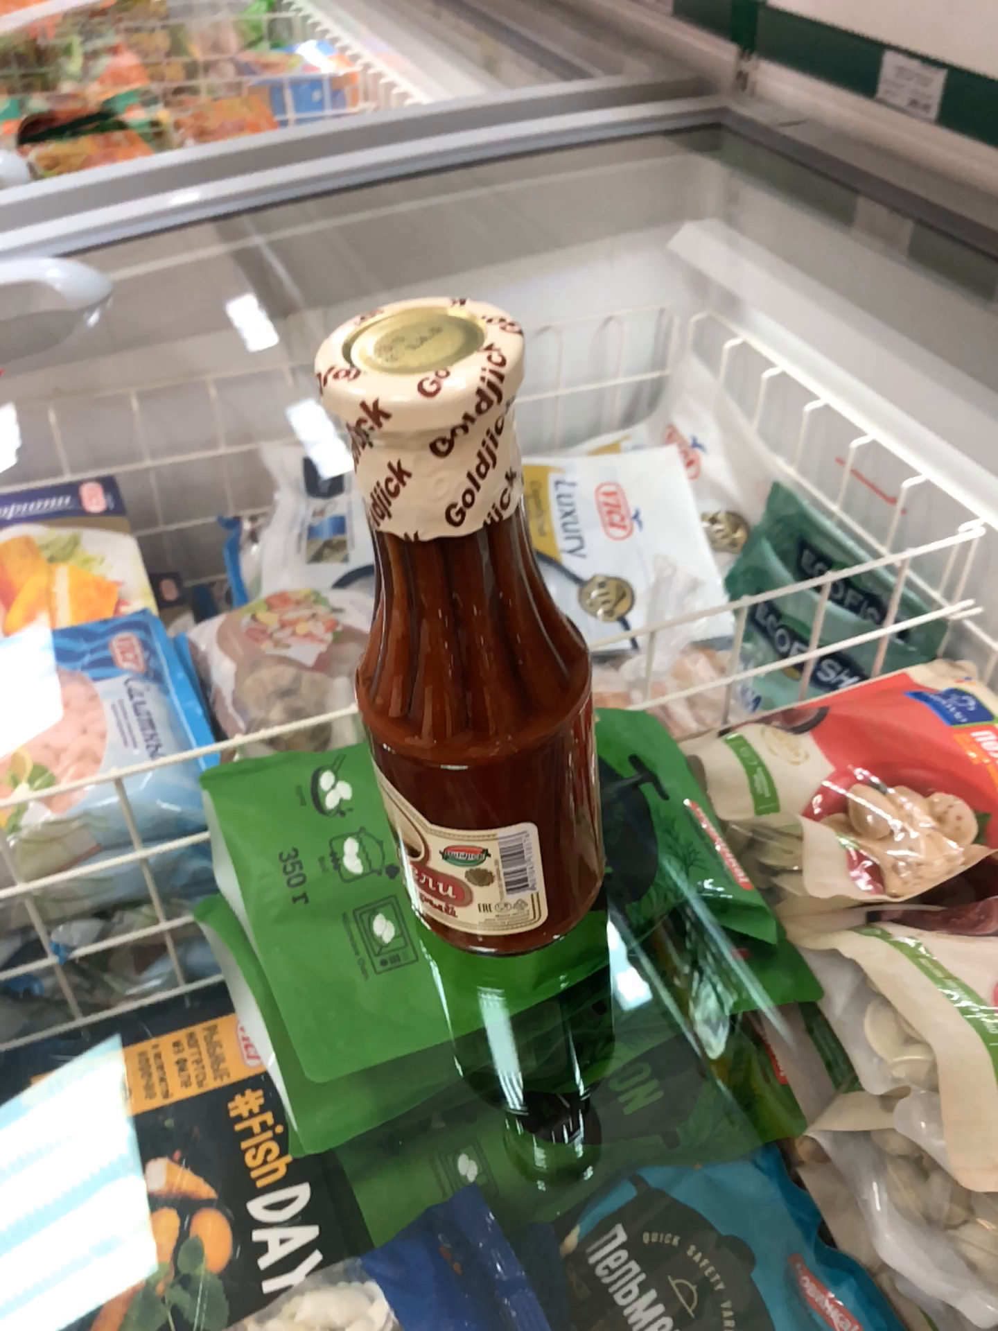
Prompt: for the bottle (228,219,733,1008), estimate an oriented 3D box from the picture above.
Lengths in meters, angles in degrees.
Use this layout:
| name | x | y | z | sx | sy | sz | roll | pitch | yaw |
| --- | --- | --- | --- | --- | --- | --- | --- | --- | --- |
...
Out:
| name | x | y | z | sx | sy | sz | roll | pitch | yaw |
| --- | --- | --- | --- | --- | --- | --- | --- | --- | --- |
| bottle | -0.002 | -0.006 | 0.291 | 0.080 | 0.179 | 0.080 | -2 | 42 | 2 |
